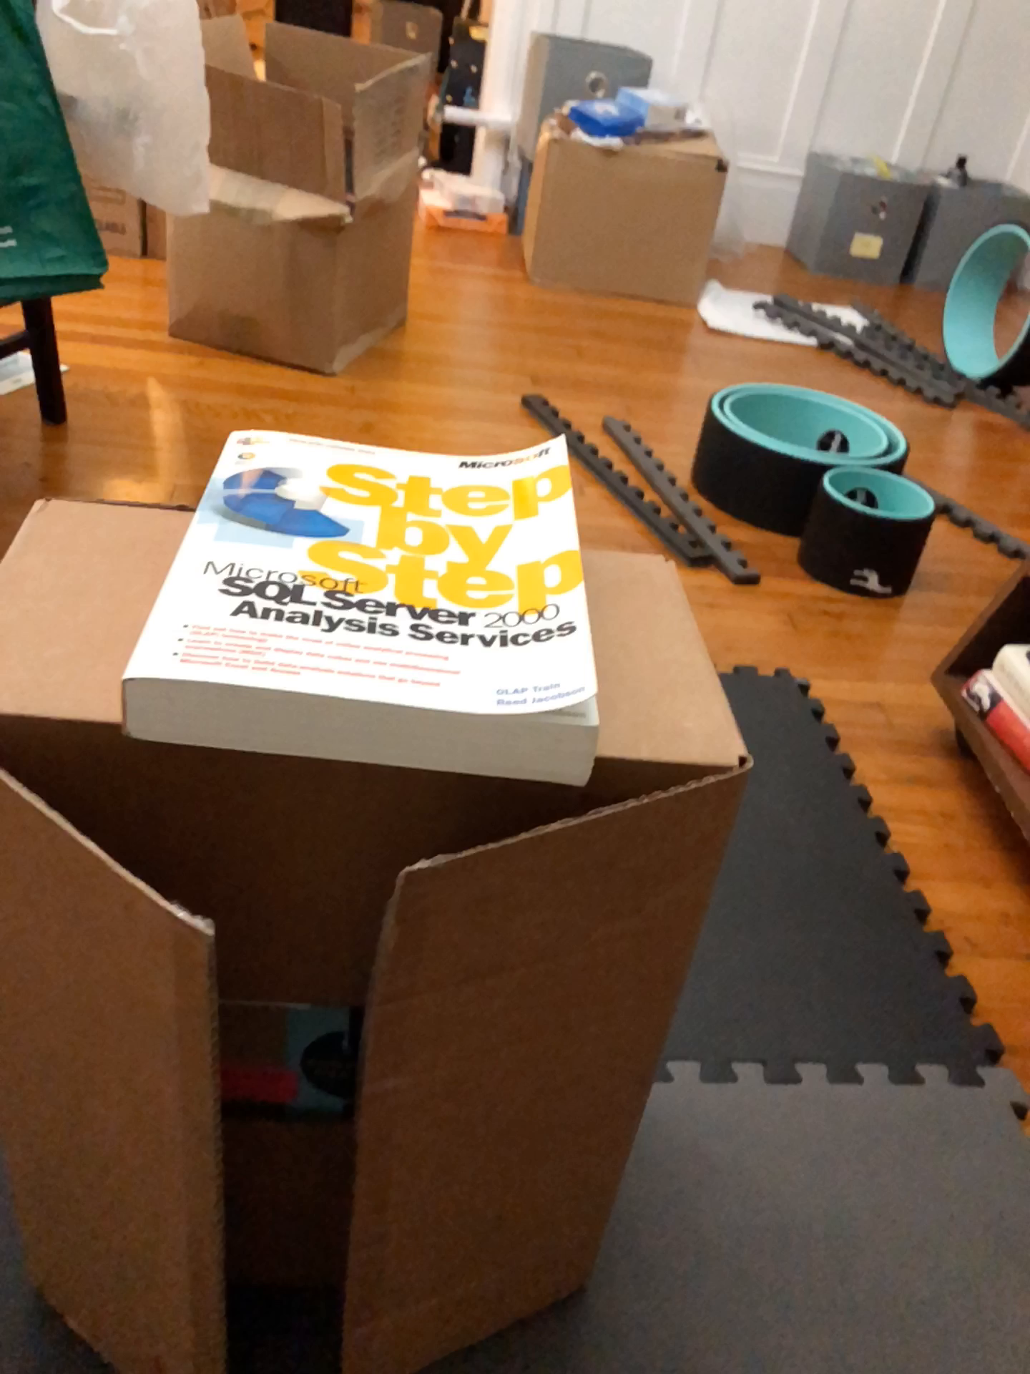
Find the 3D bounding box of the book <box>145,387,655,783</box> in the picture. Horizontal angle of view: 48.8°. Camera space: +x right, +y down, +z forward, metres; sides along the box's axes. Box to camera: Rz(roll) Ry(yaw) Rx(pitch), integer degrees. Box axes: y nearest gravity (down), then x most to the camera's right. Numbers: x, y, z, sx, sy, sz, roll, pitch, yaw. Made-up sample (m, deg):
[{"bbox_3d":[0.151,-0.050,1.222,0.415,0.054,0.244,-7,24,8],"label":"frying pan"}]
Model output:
[{"bbox_3d":[-0.059,-0.060,0.553,0.200,0.050,0.241,5,37,-13],"label":"book"}]
